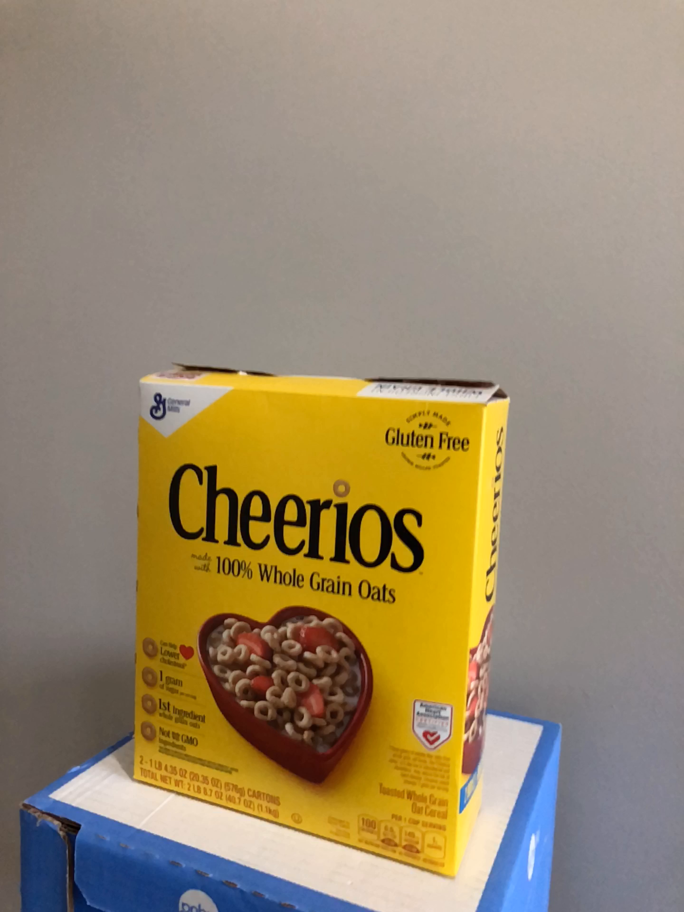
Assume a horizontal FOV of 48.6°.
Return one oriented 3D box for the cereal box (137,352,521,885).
[{"bbox_3d":[-0.015,0.089,0.525,0.240,0.310,0.090,5,7,24],"label":"cereal box"}]
